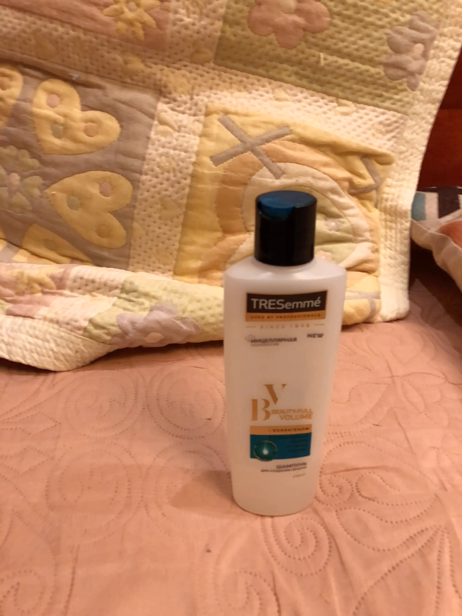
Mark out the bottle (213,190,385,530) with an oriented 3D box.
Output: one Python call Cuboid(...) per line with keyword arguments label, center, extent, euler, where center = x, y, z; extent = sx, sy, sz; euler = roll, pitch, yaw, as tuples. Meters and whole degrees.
Cuboid(label="bottle", center=(0.028, 0.039, 0.284), extent=(0.070, 0.199, 0.040), euler=(0, 28, -5))
